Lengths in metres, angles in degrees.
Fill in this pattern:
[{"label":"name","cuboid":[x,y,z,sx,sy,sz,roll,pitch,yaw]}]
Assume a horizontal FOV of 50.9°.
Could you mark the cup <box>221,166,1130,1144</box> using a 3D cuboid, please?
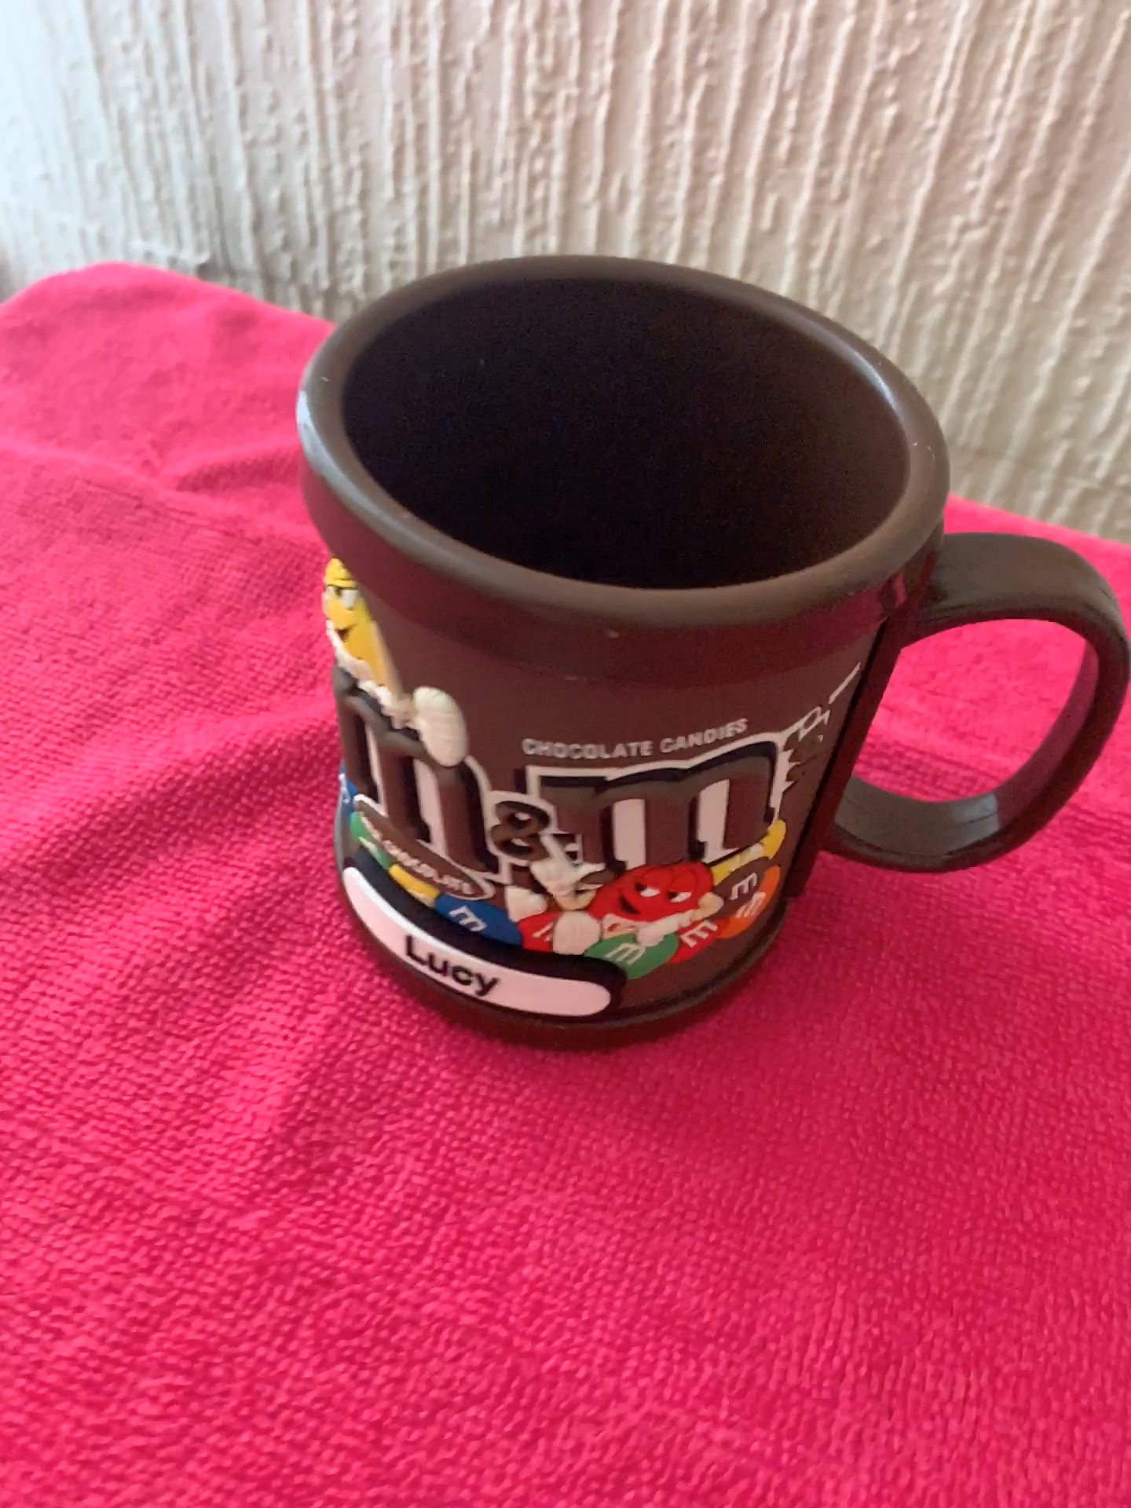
[{"label":"cup","cuboid":[0.027,-0.013,0.181,0.120,0.099,0.091,7,47,0]}]
